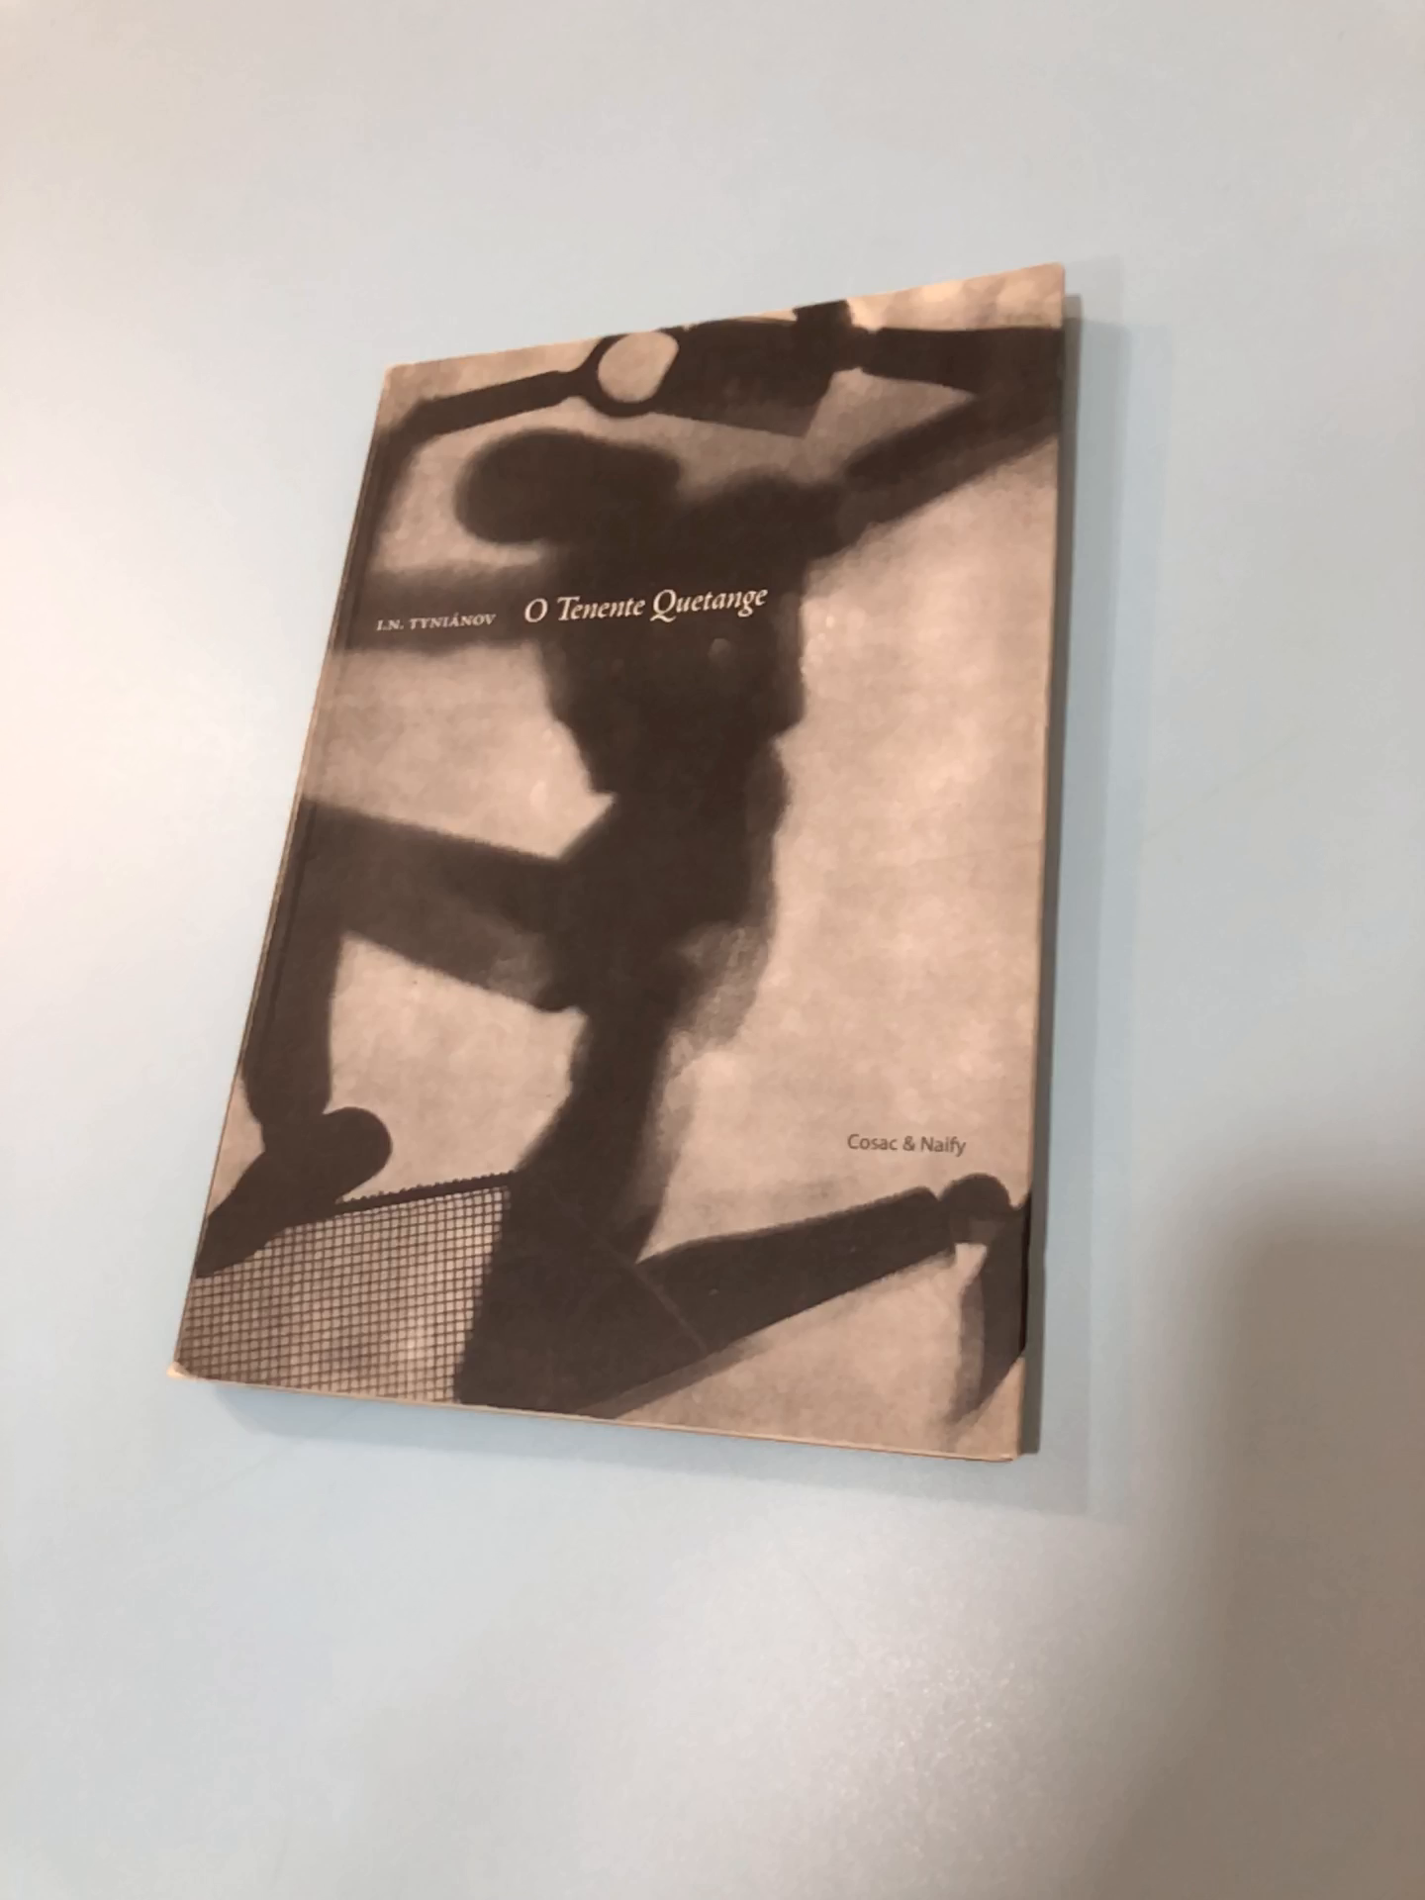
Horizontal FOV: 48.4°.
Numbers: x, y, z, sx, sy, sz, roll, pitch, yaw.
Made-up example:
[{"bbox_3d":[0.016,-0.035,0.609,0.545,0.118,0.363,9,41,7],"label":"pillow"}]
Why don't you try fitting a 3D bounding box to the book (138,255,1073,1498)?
[{"bbox_3d":[-0.013,-0.021,0.264,0.134,0.016,0.197,0,71,19],"label":"book"}]
